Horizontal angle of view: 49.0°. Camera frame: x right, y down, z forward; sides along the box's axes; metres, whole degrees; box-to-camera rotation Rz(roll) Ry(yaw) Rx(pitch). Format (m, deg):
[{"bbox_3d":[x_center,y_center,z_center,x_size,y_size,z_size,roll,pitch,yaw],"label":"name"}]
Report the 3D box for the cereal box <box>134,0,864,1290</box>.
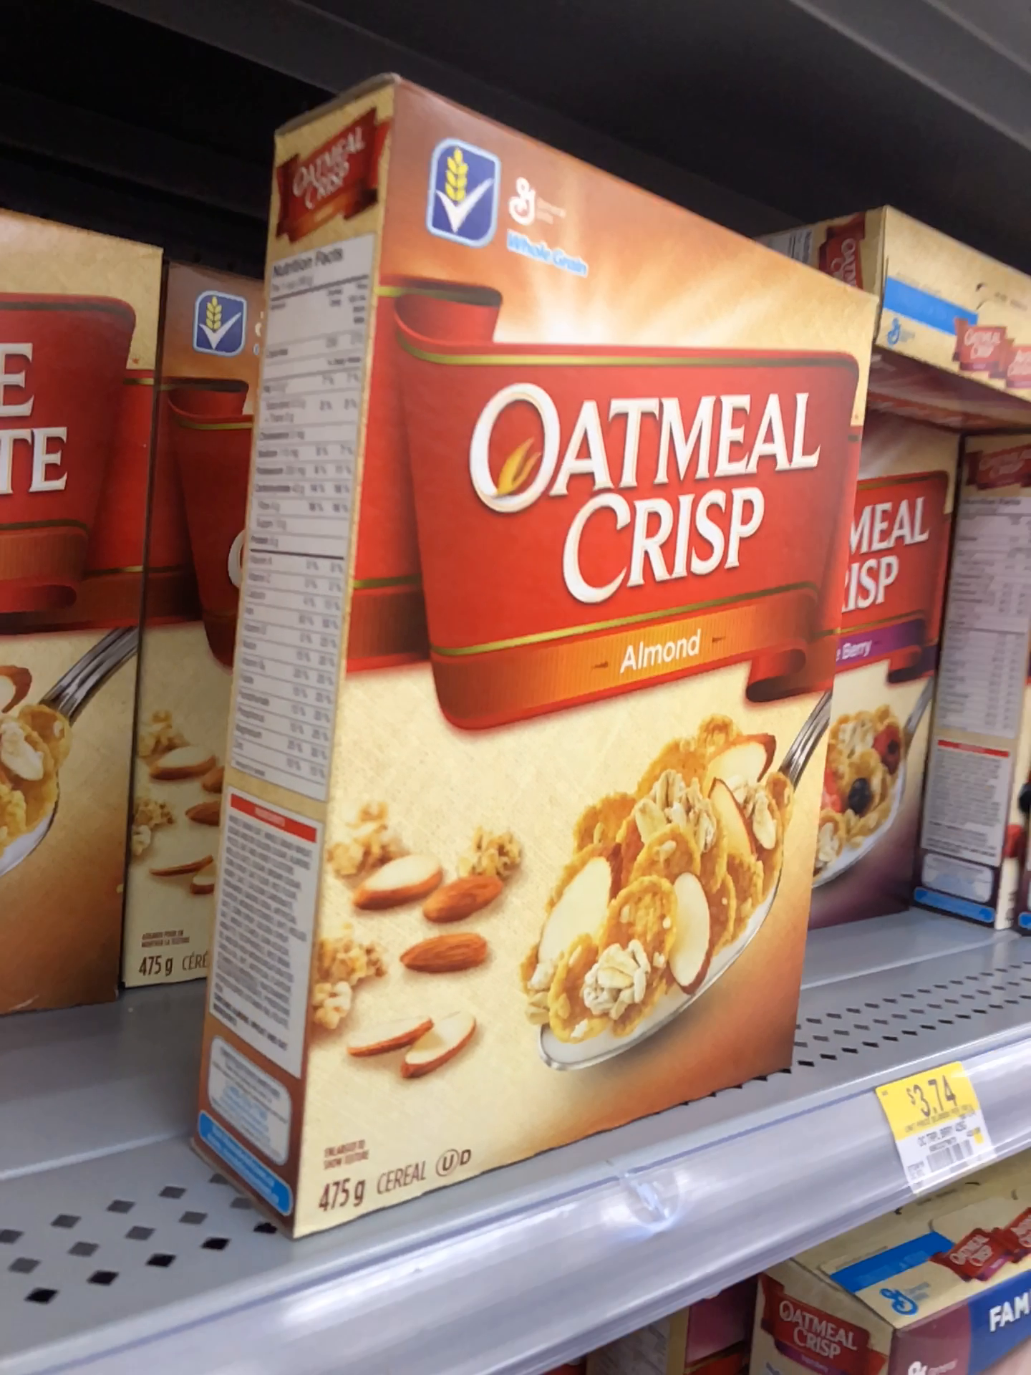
[{"bbox_3d":[0.010,-0.007,0.332,0.210,0.280,0.050,2,4,-43],"label":"cereal box"}]
